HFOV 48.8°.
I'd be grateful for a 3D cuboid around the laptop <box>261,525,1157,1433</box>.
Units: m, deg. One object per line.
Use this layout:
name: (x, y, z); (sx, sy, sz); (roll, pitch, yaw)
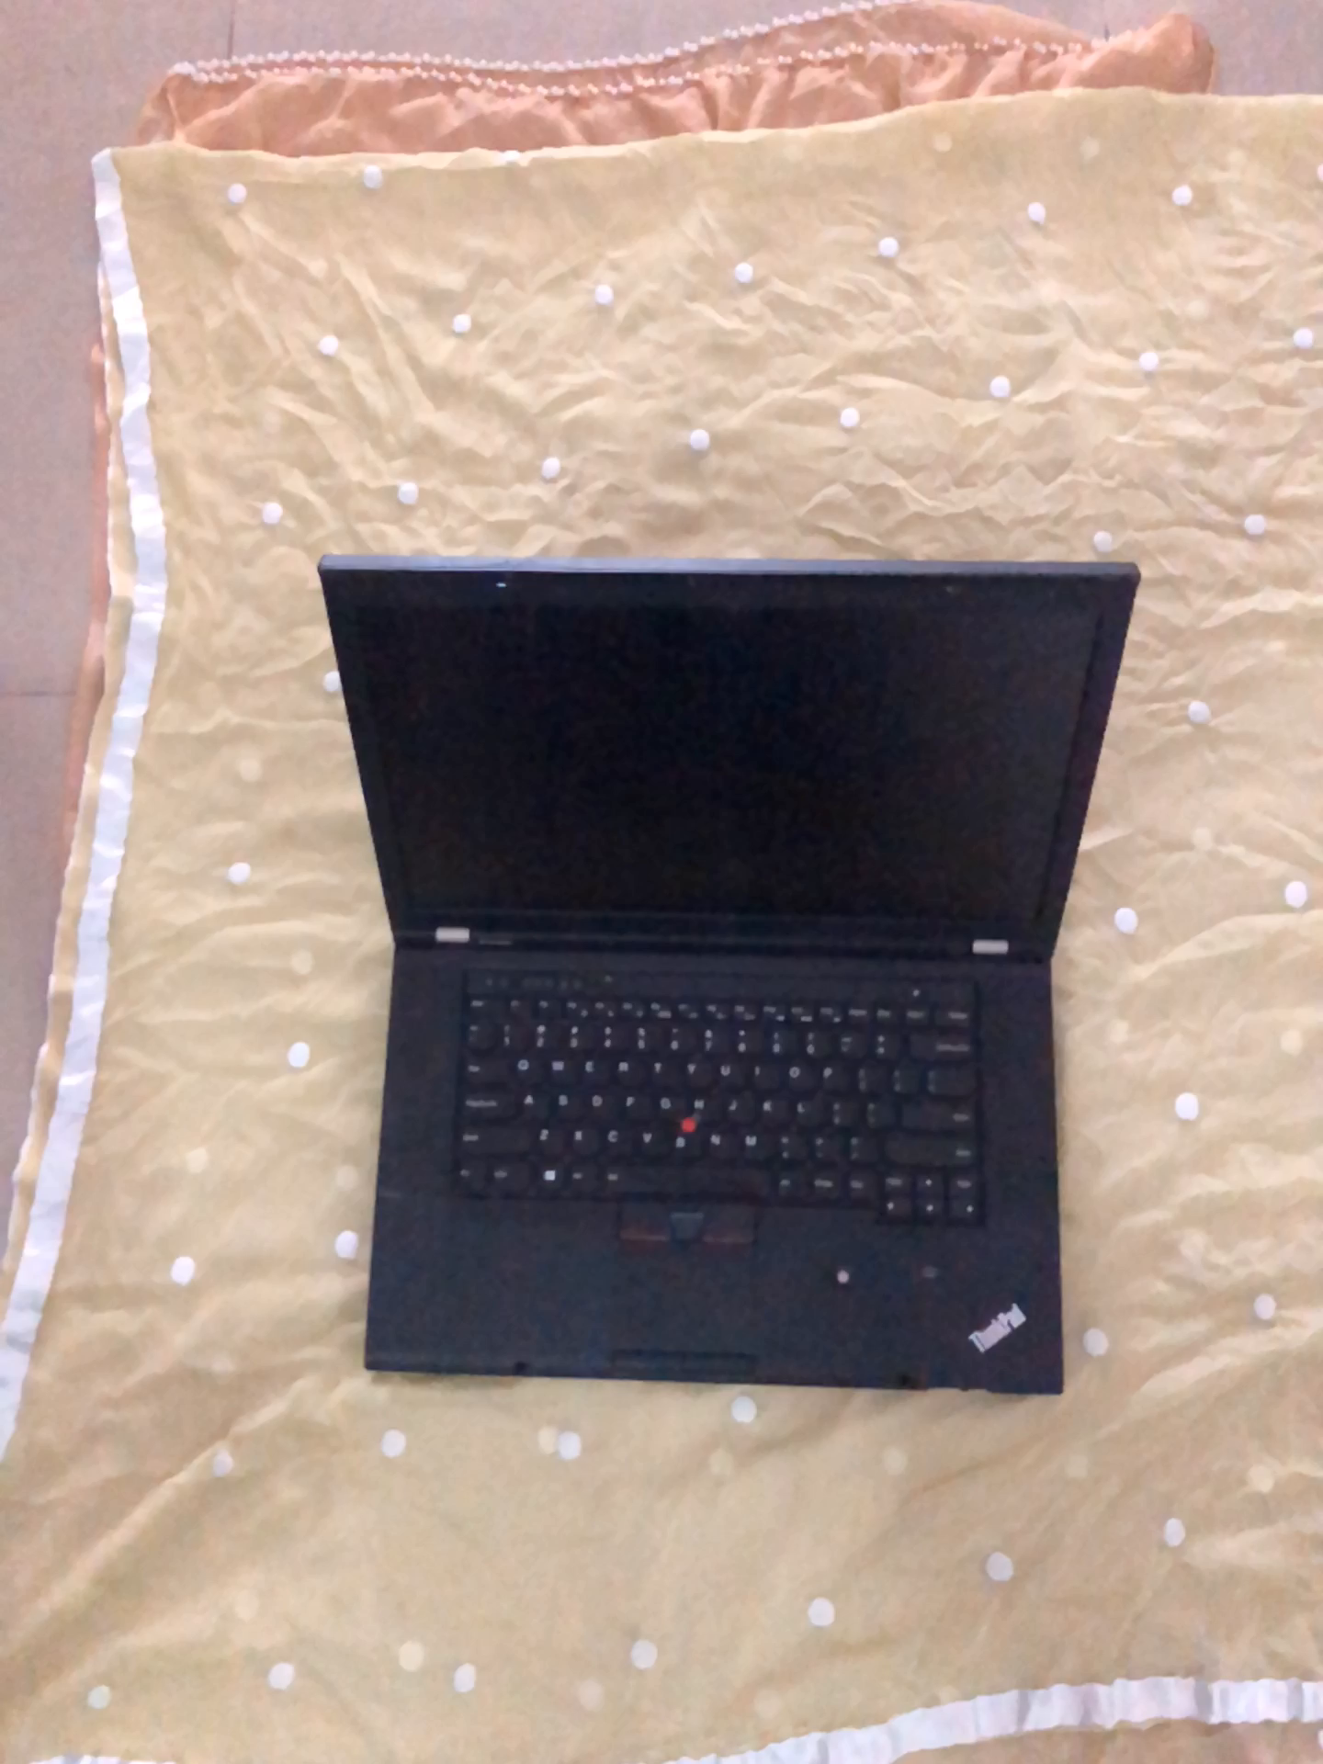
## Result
laptop: (0.026, 0.052, 0.716); (0.363, 0.192, 0.380); (1, 80, 2)
